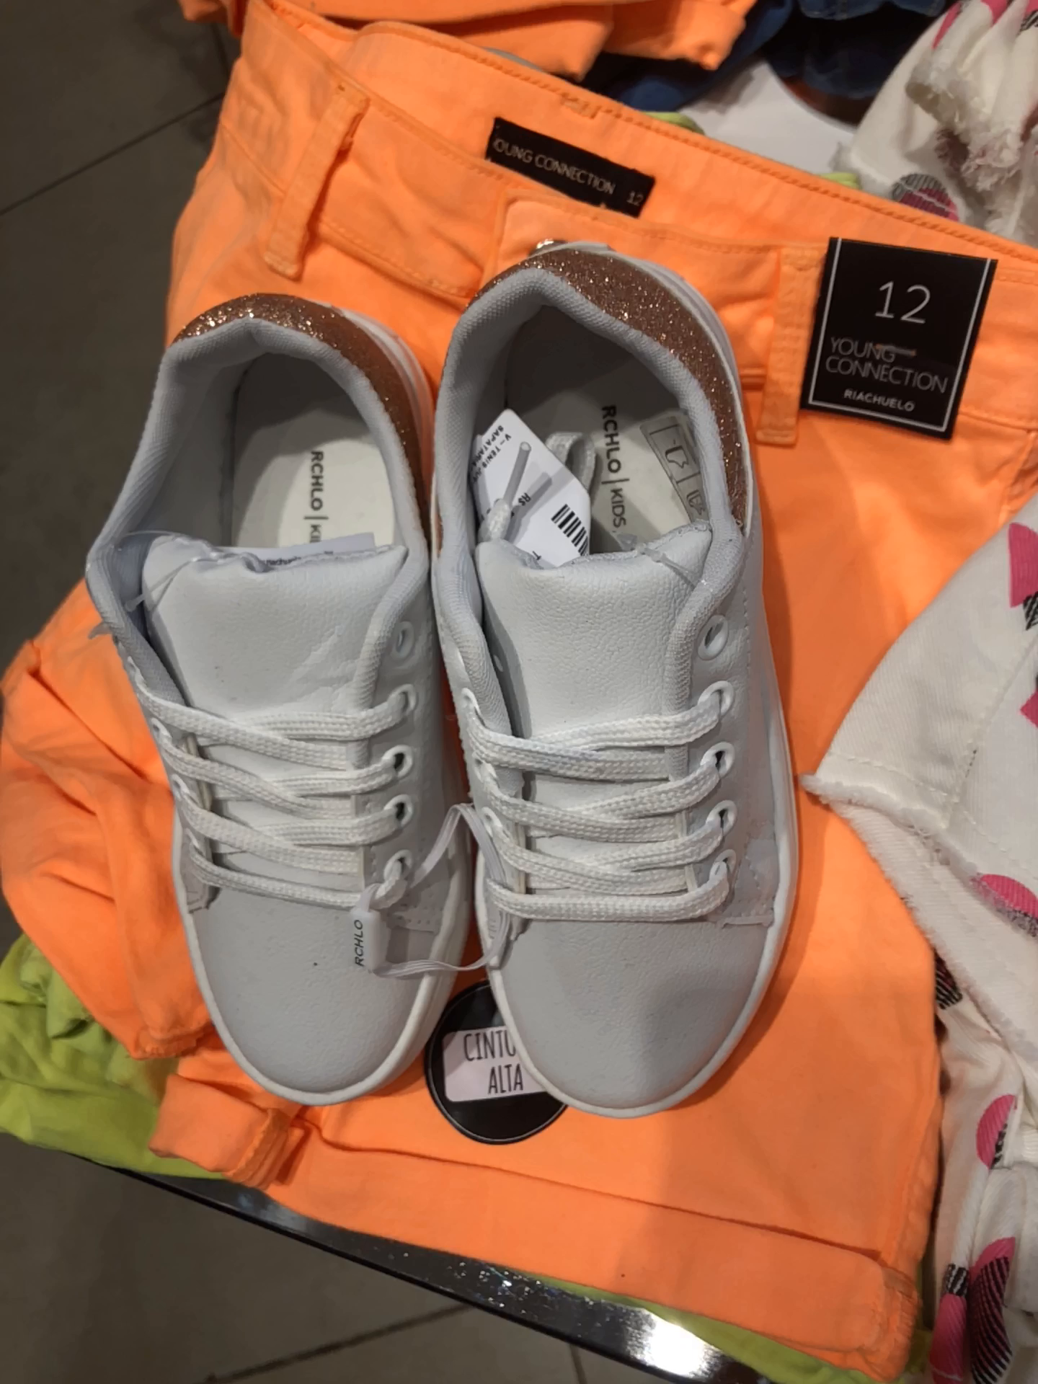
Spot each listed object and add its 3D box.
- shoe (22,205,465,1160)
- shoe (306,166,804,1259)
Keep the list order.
[{"bbox_3d":[-0.060,-0.001,0.291,0.080,0.070,0.210,-1,98,4],"label":"shoe"},{"bbox_3d":[0.015,0.007,0.265,0.080,0.070,0.210,-3,98,18],"label":"shoe"}]
